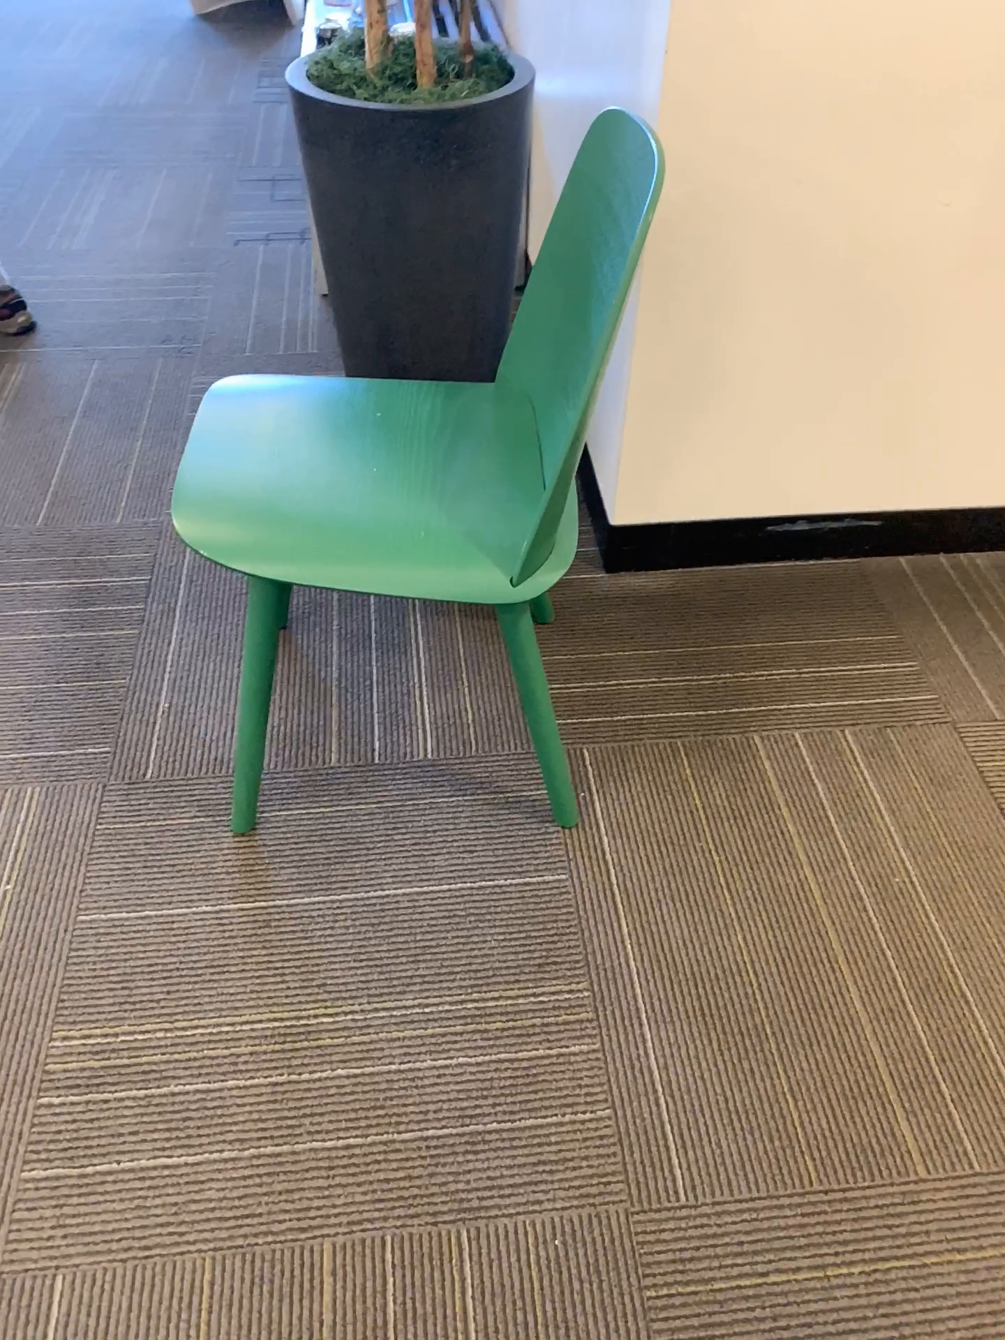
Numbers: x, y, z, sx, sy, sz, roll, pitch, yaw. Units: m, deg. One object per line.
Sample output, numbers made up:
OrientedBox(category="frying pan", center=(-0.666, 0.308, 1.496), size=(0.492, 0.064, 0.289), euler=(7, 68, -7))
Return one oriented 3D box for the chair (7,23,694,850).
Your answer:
OrientedBox(category="chair", center=(-0.135, -0.243, 1.206), size=(0.500, 0.785, 0.503), euler=(-2, 44, -4))
